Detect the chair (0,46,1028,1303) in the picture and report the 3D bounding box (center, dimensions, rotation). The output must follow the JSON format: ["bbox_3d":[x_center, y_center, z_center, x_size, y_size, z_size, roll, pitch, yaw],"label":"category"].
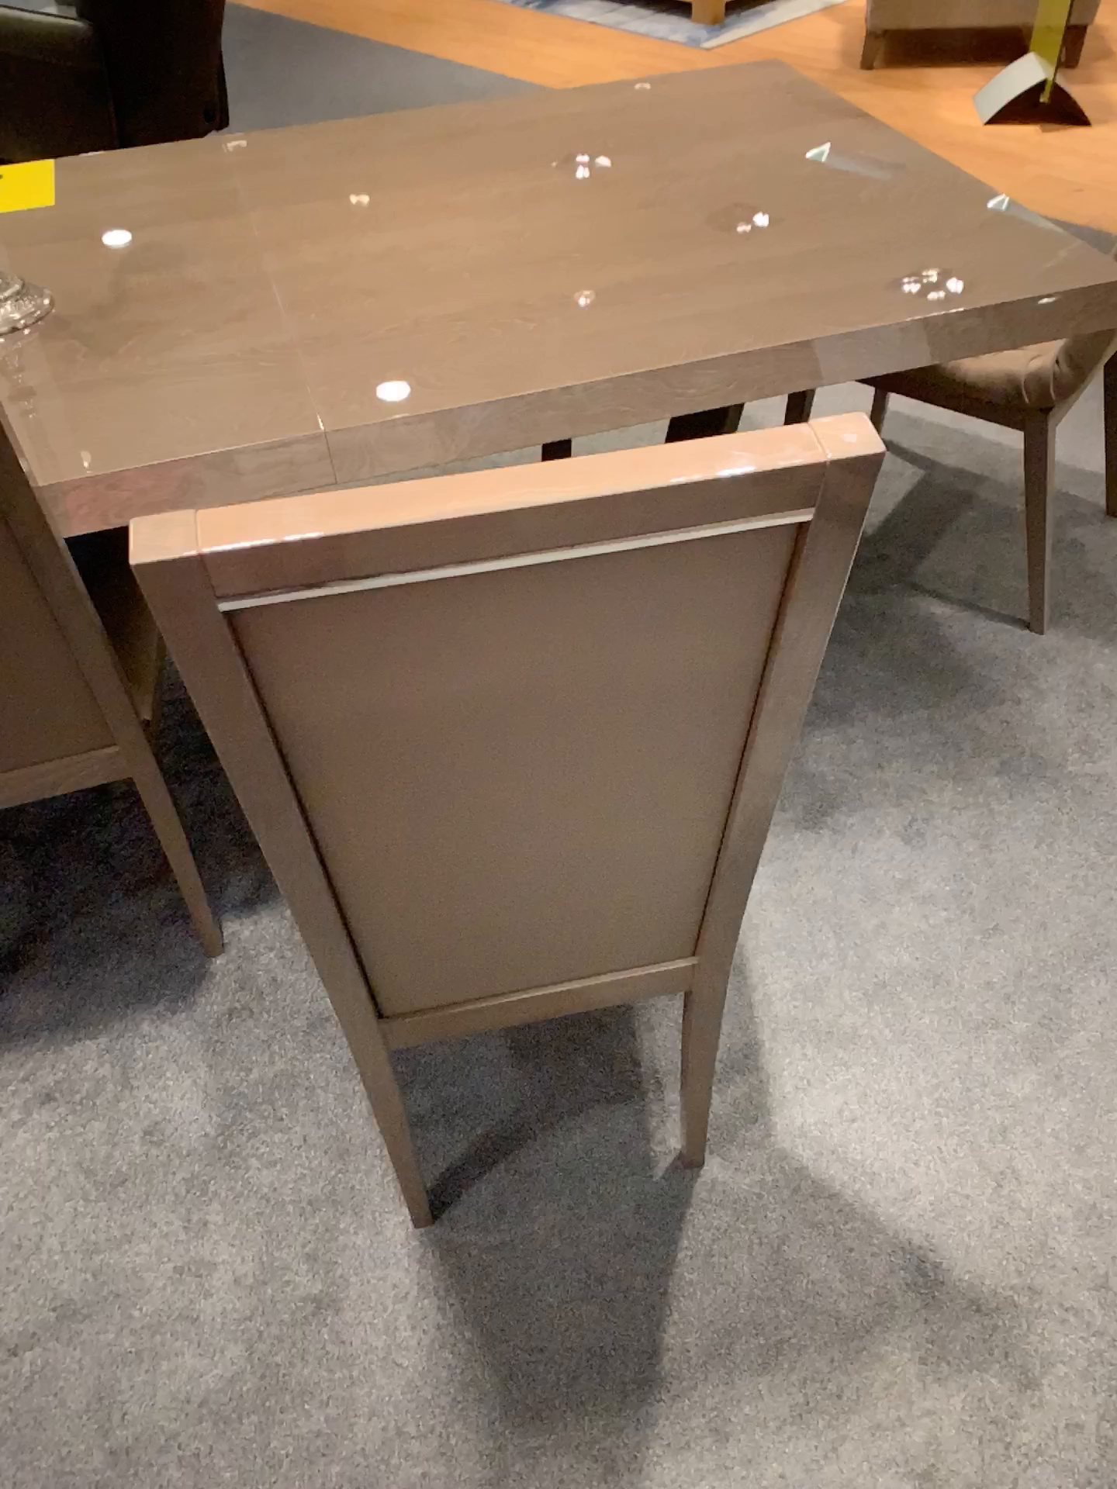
[{"bbox_3d":[-0.062,0.009,1.070,0.498,0.977,0.587,-10,48,-7],"label":"chair"}]
